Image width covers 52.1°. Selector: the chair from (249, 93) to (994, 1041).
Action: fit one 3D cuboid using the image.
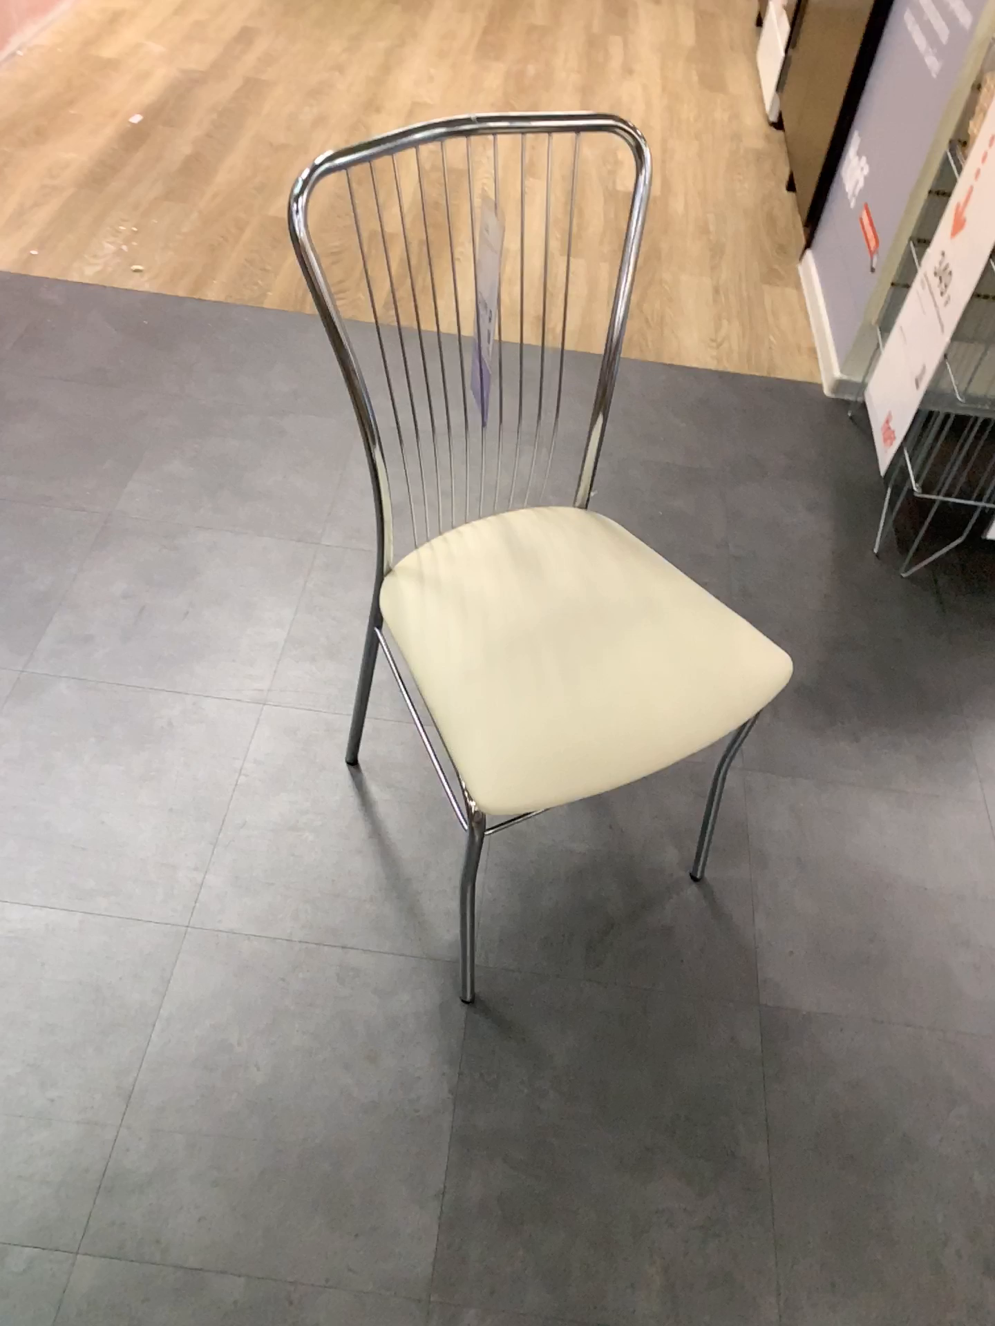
[{"bbox_3d":[0.054,-0.067,1.270,0.473,0.965,0.554,-19,53,-22],"label":"chair"}]
